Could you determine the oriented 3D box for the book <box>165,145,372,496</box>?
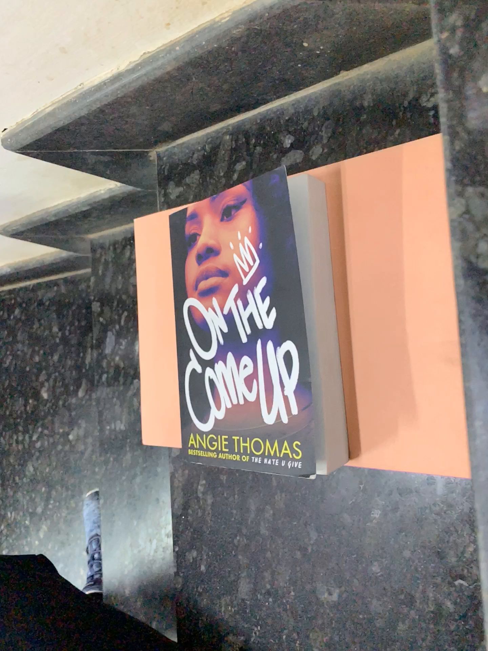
[{"bbox_3d":[0.010,0.001,0.343,0.131,0.040,0.200,-8,84,40],"label":"book"}]
